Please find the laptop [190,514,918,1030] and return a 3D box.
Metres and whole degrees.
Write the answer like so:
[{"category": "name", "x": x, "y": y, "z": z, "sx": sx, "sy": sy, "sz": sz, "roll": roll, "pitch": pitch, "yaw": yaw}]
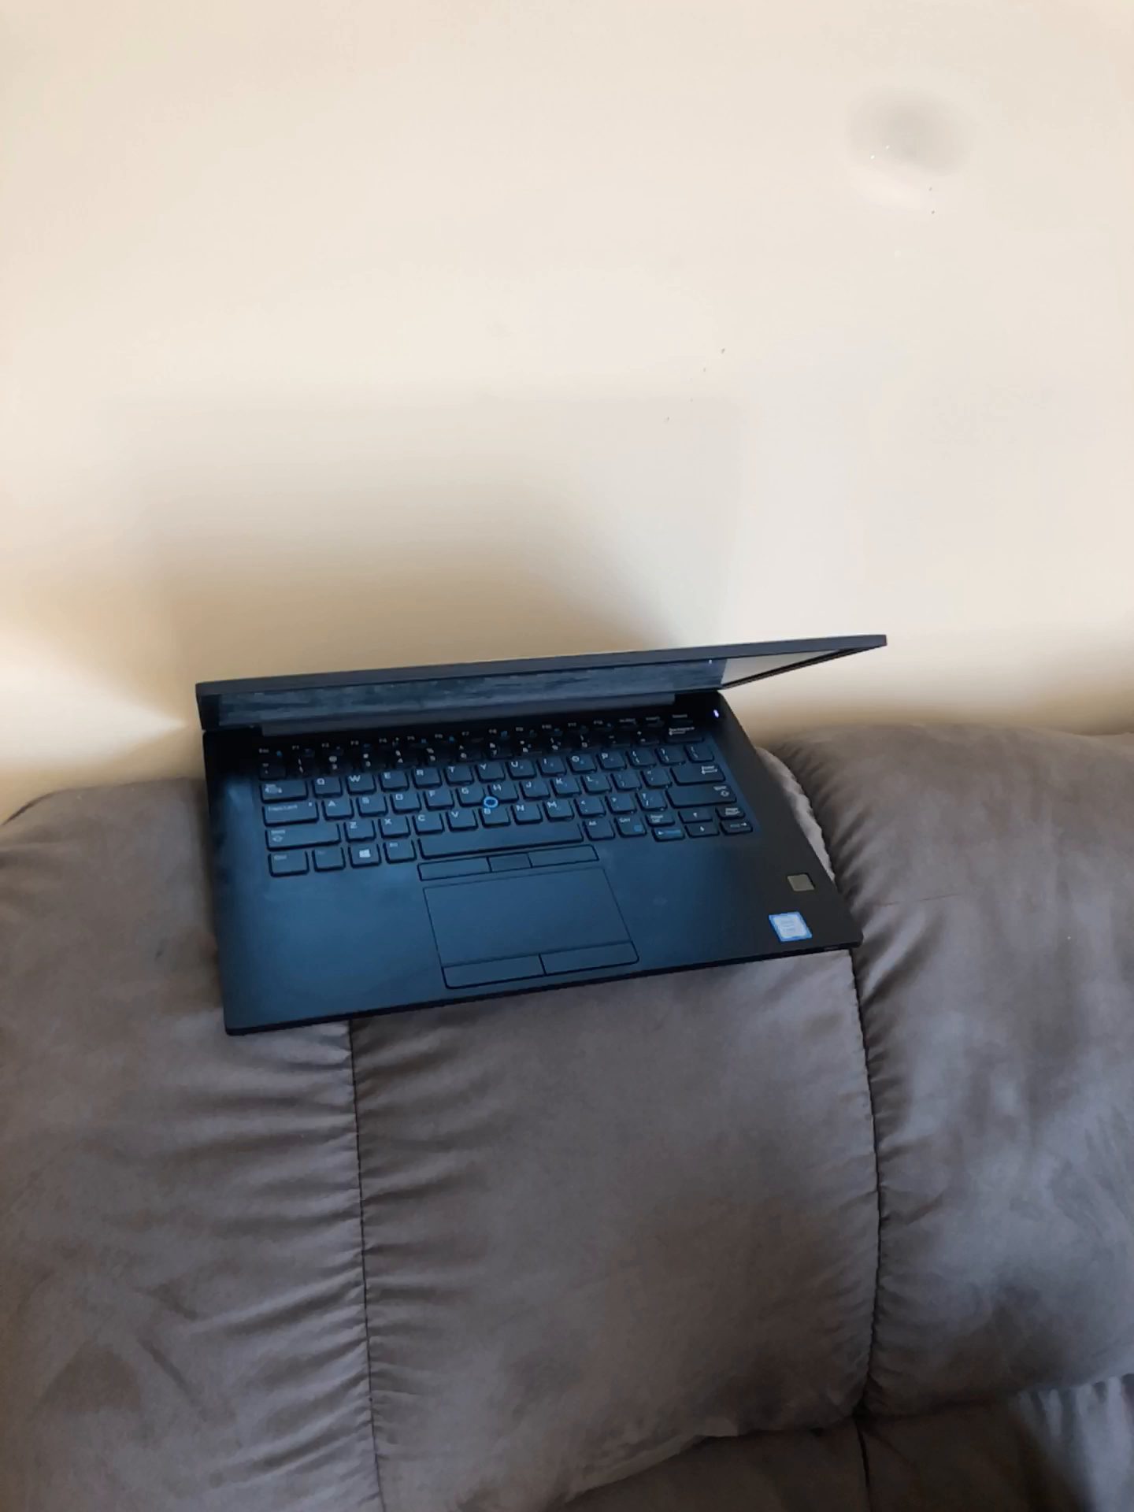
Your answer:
[{"category": "laptop", "x": -0.023, "y": -0.010, "z": 0.656, "sx": 0.321, "sy": 0.128, "sz": 0.214, "roll": -5, "pitch": 39, "yaw": -16}]
